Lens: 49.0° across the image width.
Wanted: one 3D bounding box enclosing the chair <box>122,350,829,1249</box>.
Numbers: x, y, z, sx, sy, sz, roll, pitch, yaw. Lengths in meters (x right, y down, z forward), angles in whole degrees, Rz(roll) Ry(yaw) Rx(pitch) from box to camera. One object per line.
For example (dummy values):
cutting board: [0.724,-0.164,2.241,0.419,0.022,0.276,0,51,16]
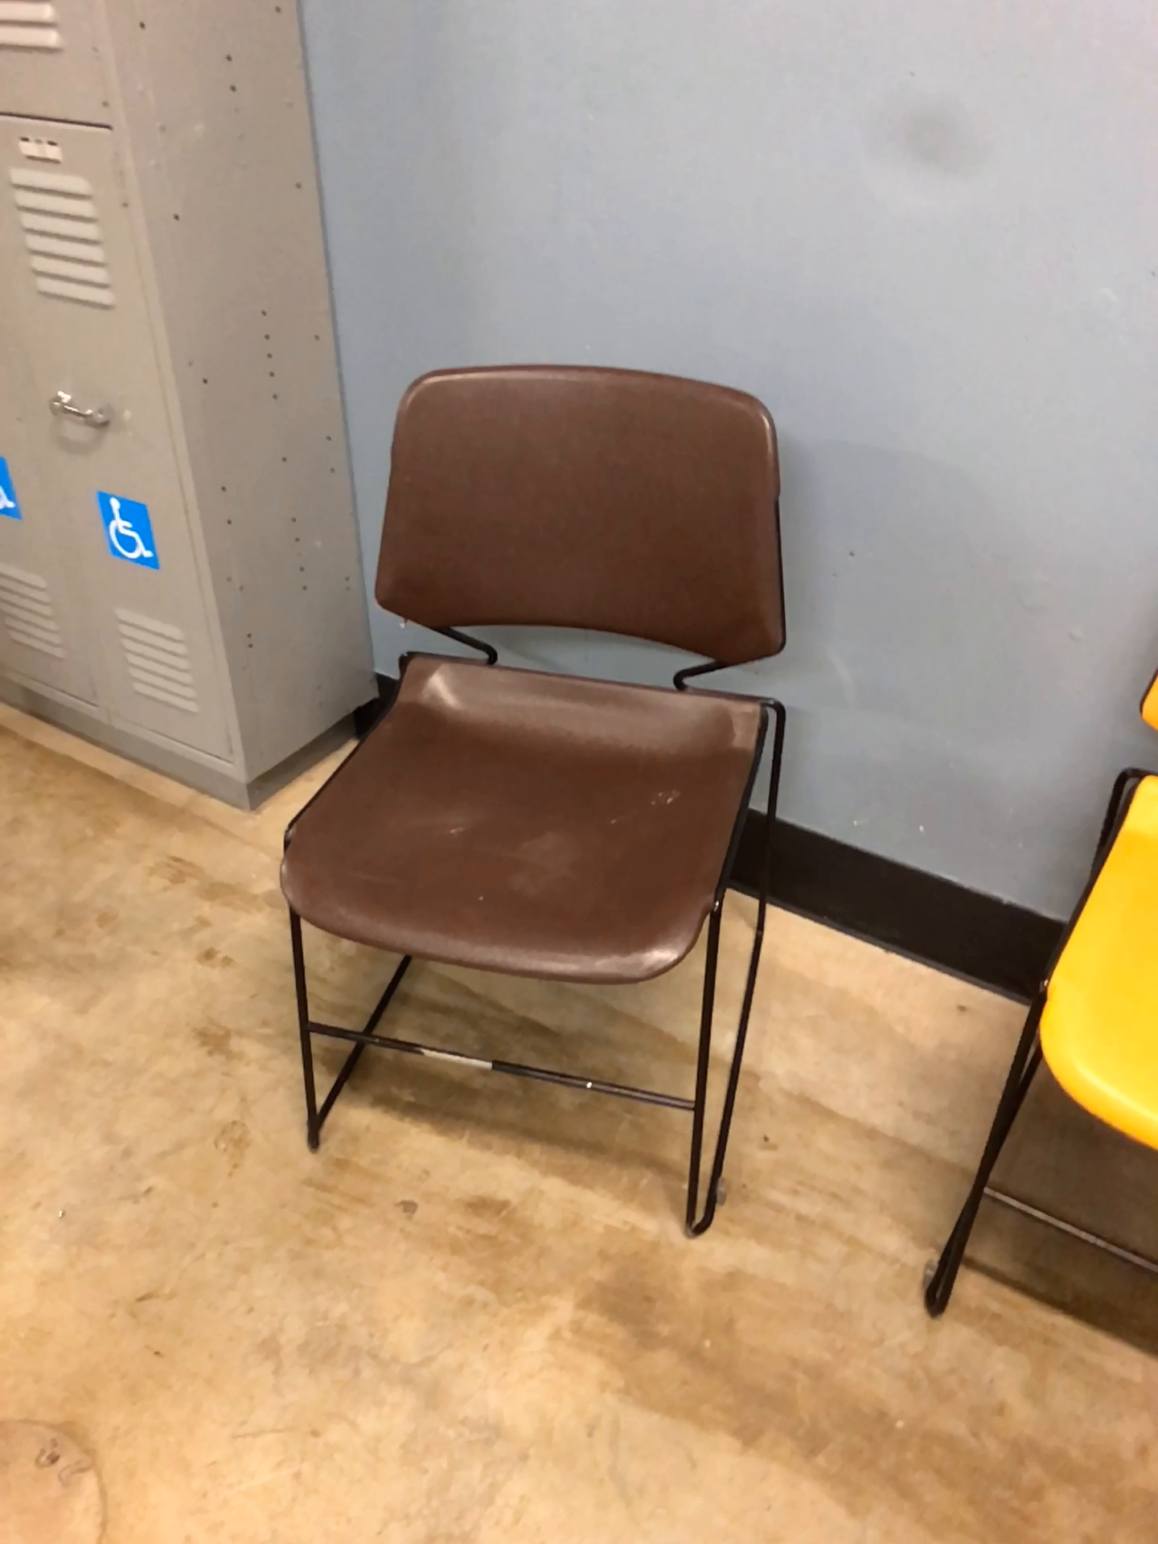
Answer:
chair: [-0.049,0.011,1.405,0.516,0.750,0.548,8,36,12]
